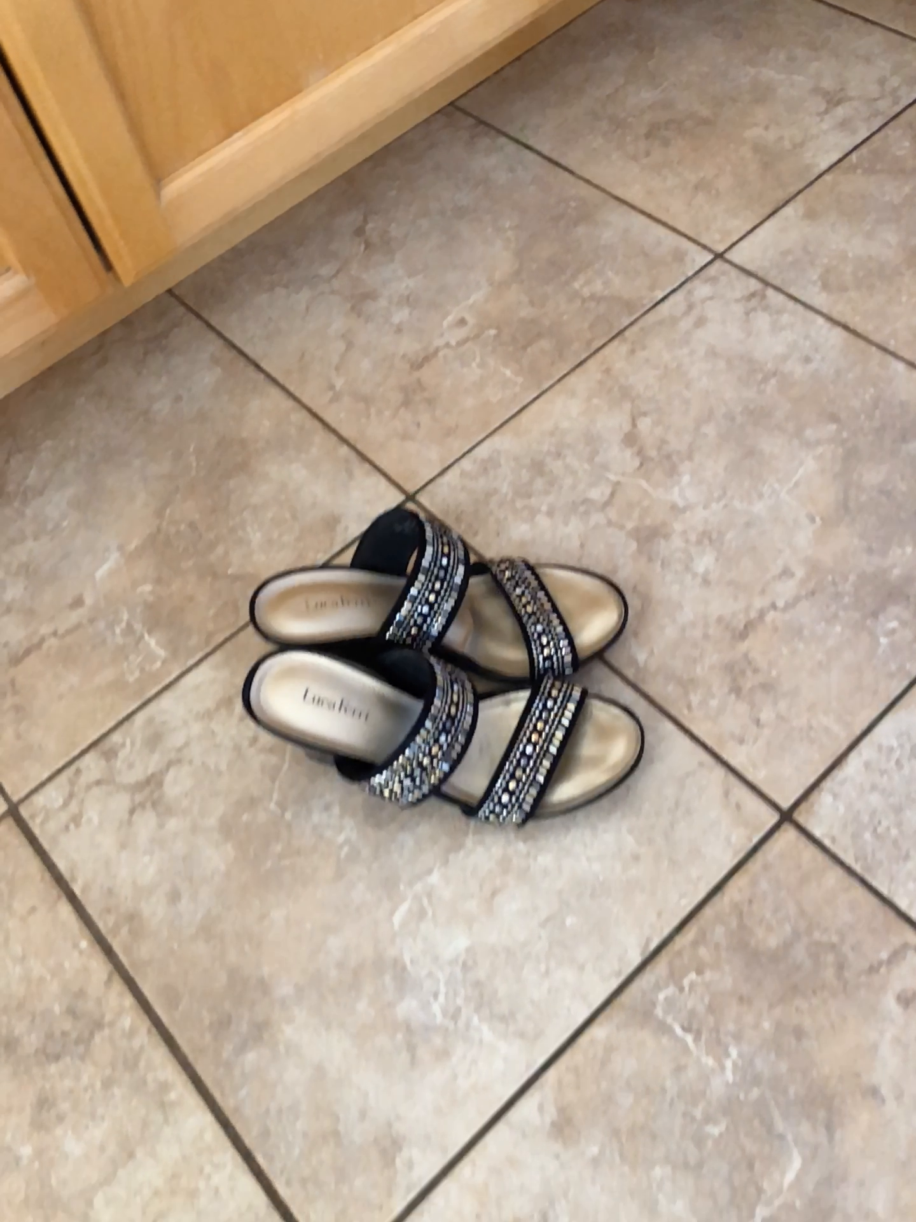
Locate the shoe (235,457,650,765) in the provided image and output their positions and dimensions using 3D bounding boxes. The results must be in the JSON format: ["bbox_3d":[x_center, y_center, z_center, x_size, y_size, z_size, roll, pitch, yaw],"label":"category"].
[{"bbox_3d":[-0.009,0.002,0.605,0.220,0.100,0.110,-11,58,1],"label":"shoe"}]

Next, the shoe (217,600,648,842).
[{"bbox_3d":[-0.007,0.063,0.575,0.220,0.100,0.090,3,60,9],"label":"shoe"}]
